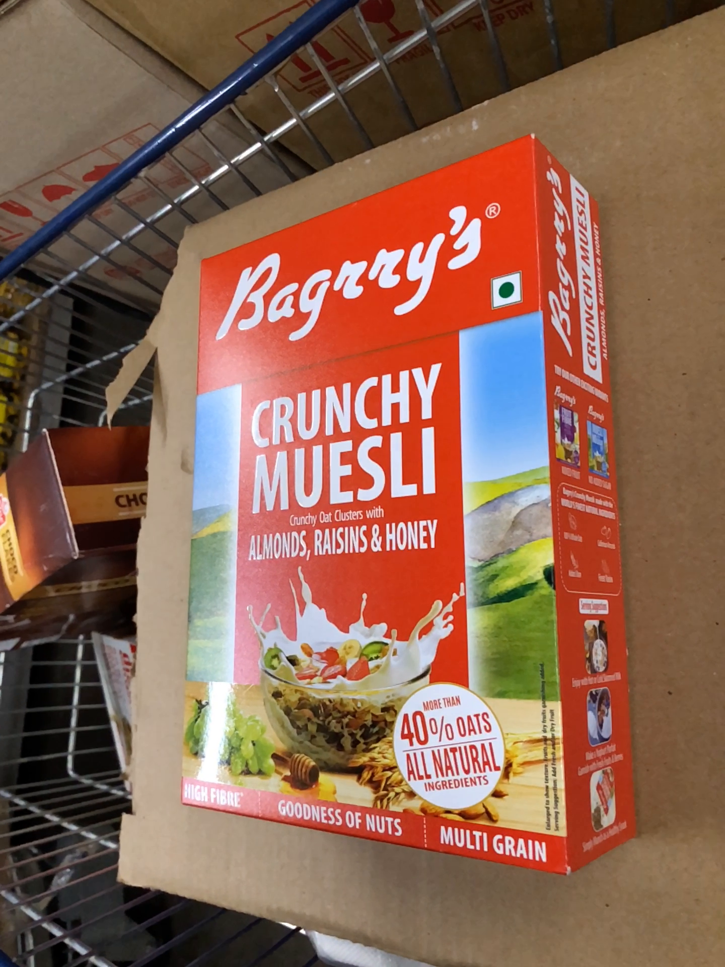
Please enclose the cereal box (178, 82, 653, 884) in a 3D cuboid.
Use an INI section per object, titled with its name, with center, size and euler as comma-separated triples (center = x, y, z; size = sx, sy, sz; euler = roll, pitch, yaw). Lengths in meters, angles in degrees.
[cereal box]
center = 0.011, 0.003, 0.339
size = 0.181, 0.070, 0.260
euler = -7, 79, 37
